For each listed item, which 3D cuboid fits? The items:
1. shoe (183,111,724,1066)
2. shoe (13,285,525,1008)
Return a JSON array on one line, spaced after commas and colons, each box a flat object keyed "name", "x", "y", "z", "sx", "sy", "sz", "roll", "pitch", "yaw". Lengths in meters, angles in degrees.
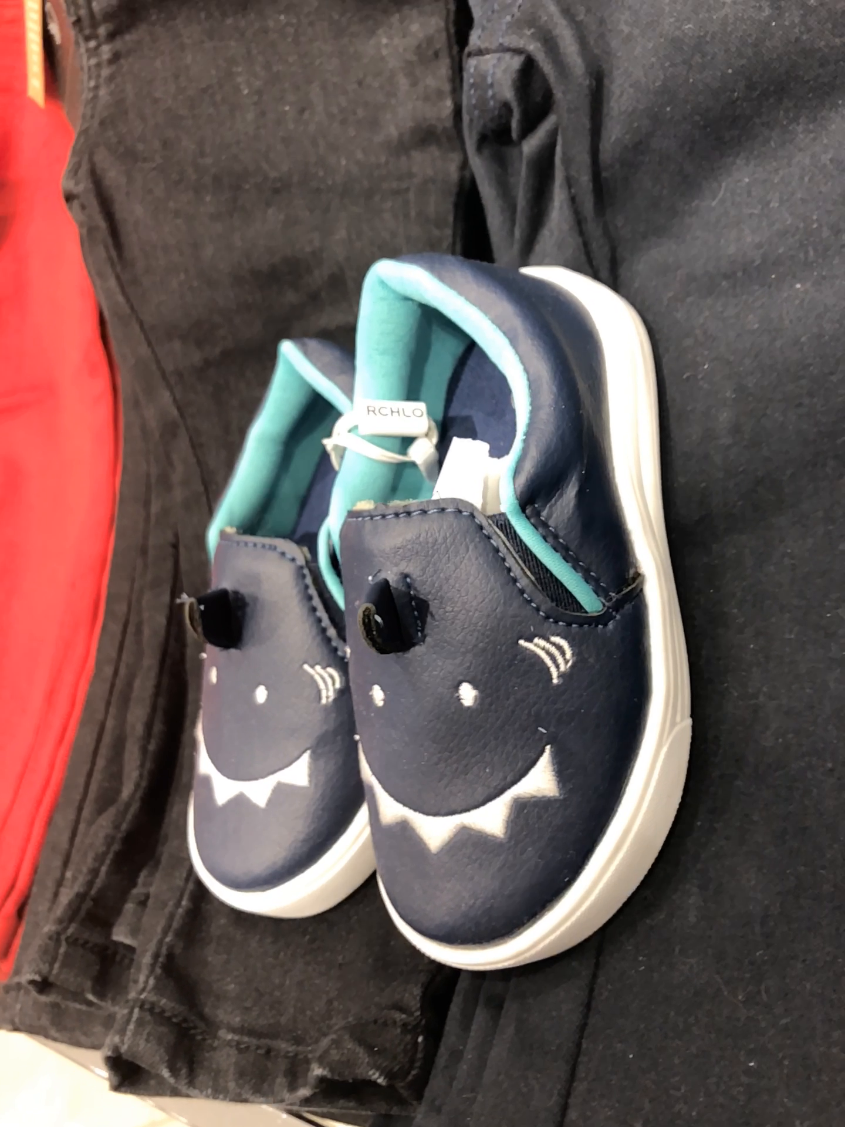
[{"name": "shoe", "x": 0.010, "y": 0.004, "z": 0.187, "sx": 0.080, "sy": 0.050, "sz": 0.150, "roll": -7, "pitch": 70, "yaw": 35}, {"name": "shoe", "x": -0.036, "y": 0.016, "z": 0.237, "sx": 0.080, "sy": 0.050, "sz": 0.150, "roll": 5, "pitch": 77, "yaw": 38}]
